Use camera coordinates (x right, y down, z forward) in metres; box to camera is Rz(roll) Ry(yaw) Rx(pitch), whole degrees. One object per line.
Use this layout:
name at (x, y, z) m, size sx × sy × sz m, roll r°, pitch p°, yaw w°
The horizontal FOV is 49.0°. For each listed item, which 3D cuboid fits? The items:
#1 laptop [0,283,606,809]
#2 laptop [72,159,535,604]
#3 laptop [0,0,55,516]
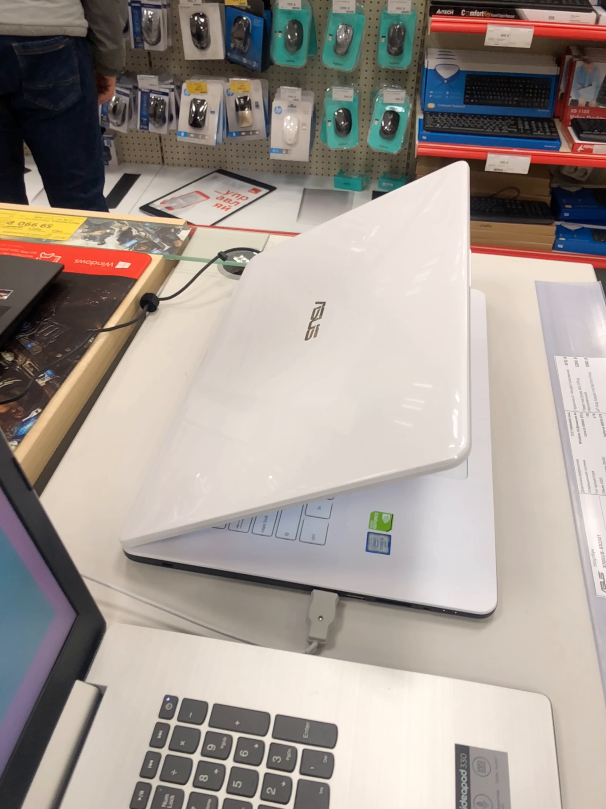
laptop at (-0.058, 0.192, 0.153) m, size 0.336 × 0.262 × 0.394 m, roll 5°, pitch 41°, yaw 4°
laptop at (0.017, -0.059, 0.562) m, size 0.256 × 0.142 × 0.393 m, roll 6°, pitch 40°, yaw 5°
laptop at (-0.519, -0.148, 0.530) m, size 0.377 × 0.220 × 0.367 m, roll 12°, pitch 42°, yaw 8°
